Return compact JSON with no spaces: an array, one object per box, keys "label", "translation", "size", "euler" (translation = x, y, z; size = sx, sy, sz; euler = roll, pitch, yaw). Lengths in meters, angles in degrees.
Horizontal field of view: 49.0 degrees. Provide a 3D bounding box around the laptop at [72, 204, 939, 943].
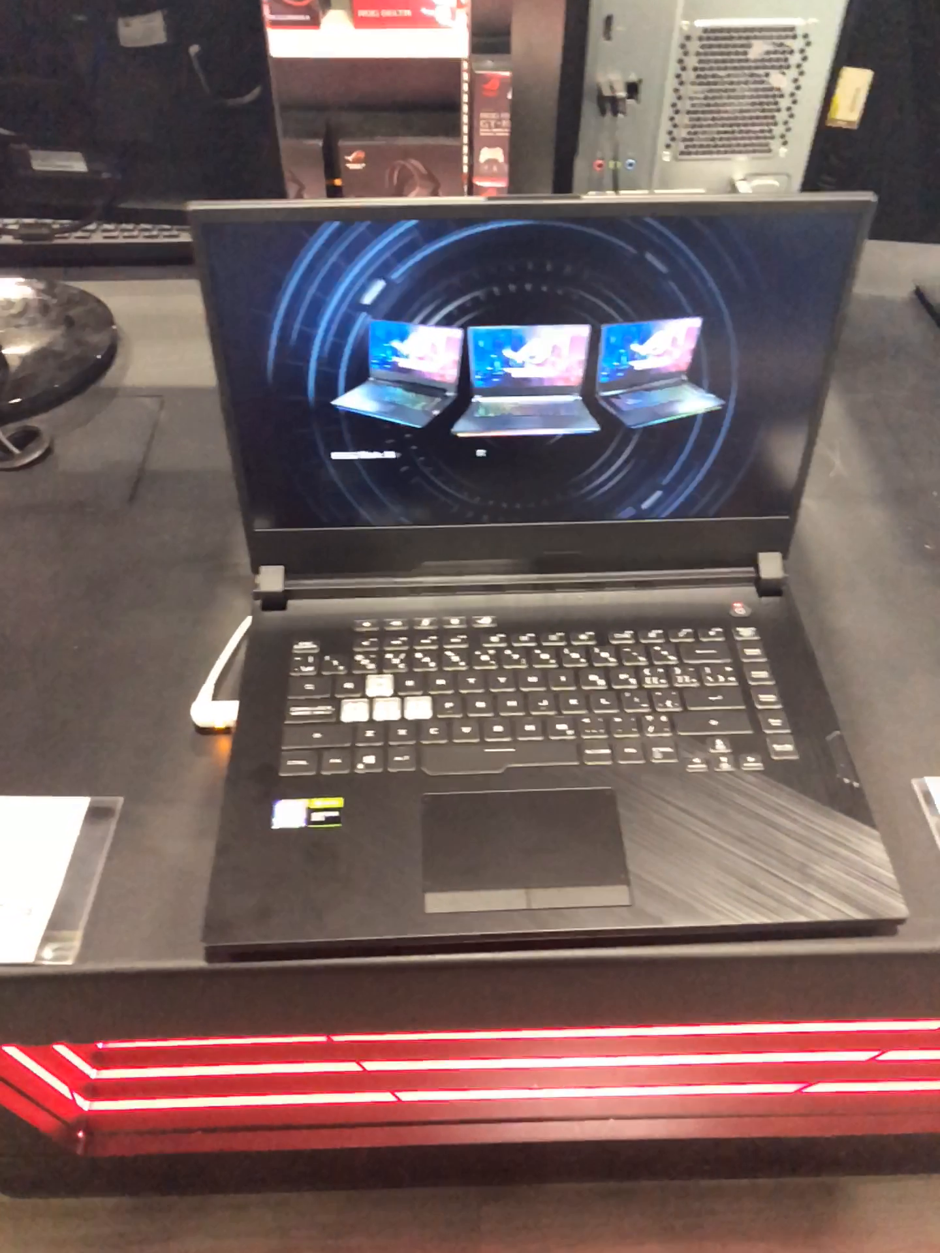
[{"label":"laptop","translation":[0.038,-0.033,0.521],"size":[0.350,0.243,0.281],"euler":[-1,46,-2]}]
